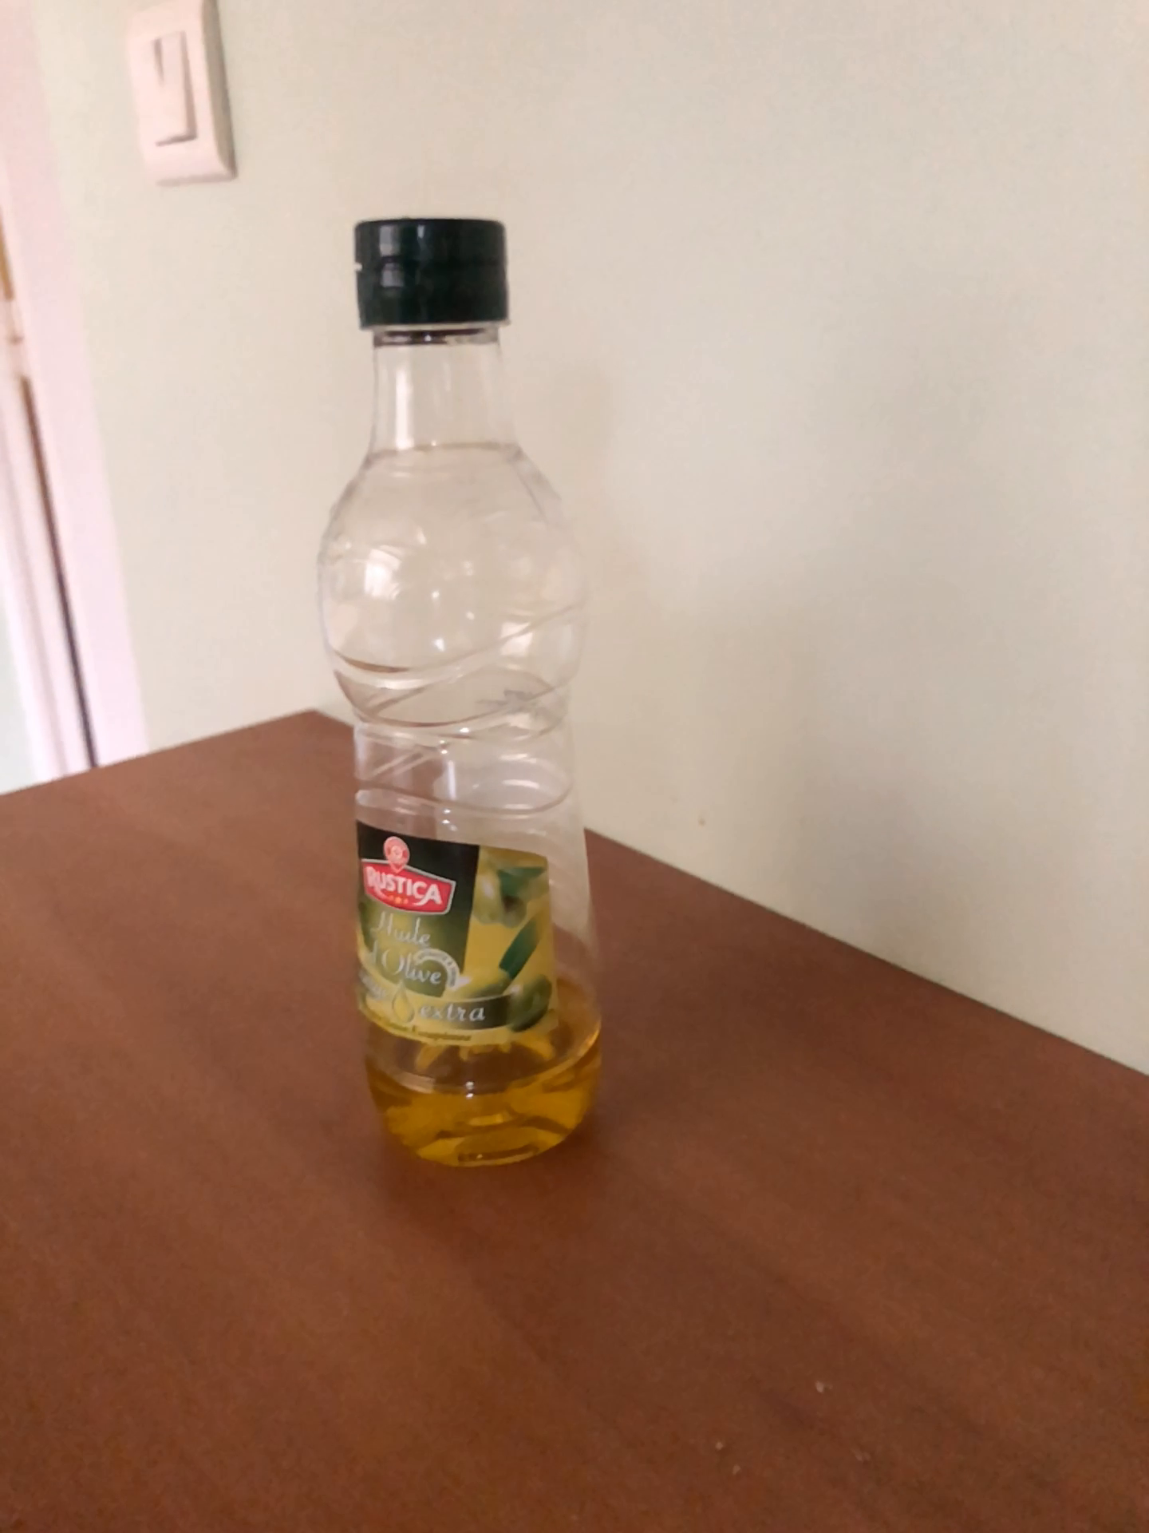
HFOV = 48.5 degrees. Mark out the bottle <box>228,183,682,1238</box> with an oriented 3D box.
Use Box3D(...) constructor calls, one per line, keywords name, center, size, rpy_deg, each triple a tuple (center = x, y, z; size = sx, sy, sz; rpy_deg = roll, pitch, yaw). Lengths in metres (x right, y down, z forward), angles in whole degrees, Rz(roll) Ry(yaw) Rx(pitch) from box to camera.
Box3D(name="bottle", center=(-0.021, -0.012, 0.320), size=(0.070, 0.239, 0.070), rpy_deg=(-1, 21, 1))
